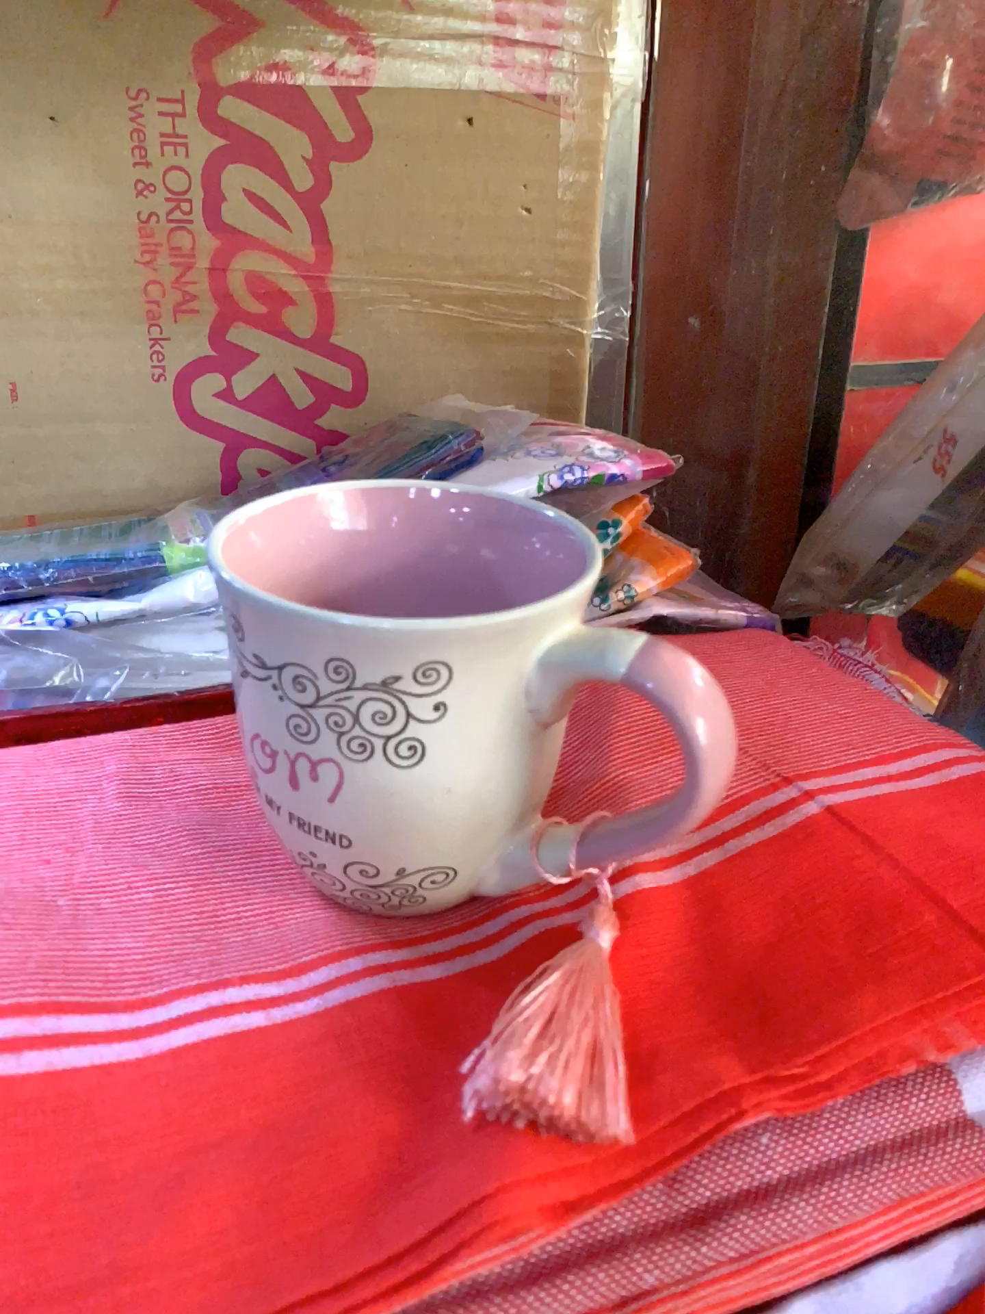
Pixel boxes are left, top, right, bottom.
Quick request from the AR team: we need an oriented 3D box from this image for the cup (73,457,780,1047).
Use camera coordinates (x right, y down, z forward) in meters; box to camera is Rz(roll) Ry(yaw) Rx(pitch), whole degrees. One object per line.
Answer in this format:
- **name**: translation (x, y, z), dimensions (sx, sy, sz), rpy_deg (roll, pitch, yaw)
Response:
- **cup**: translation (-0.012, 0.009, 0.234), dimensions (0.125, 0.075, 0.086), rpy_deg (13, 29, 26)
